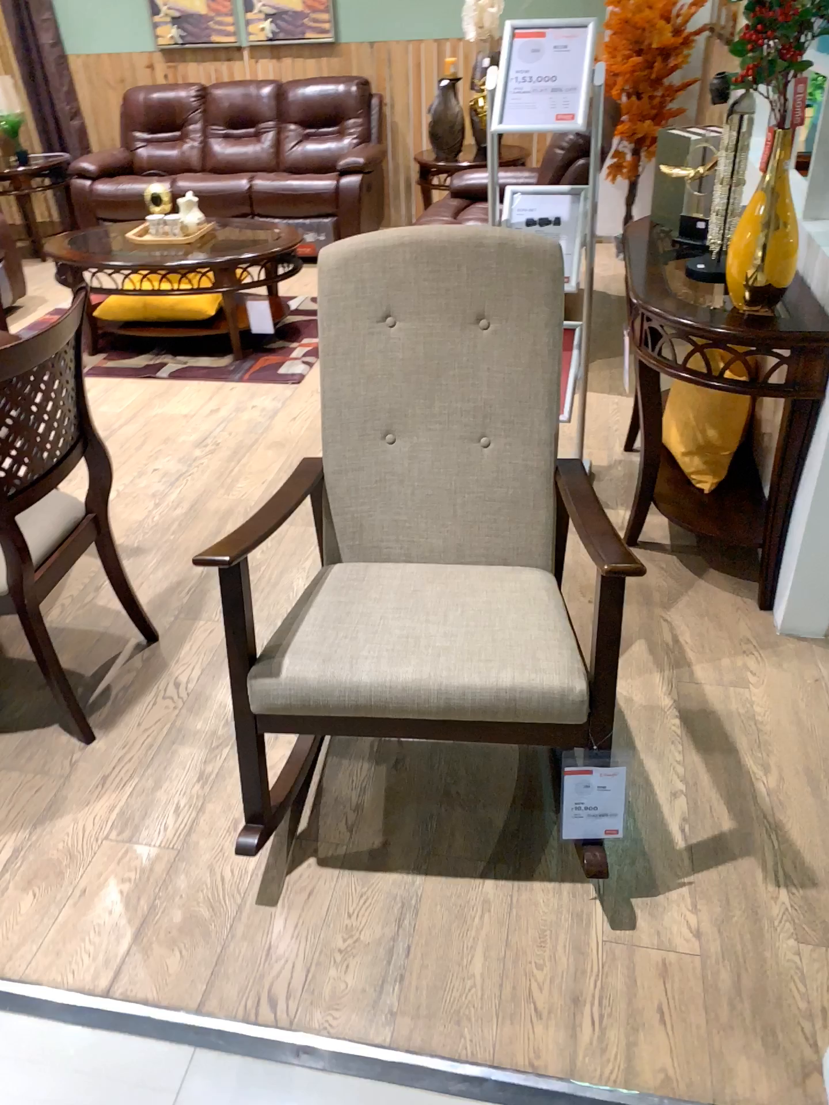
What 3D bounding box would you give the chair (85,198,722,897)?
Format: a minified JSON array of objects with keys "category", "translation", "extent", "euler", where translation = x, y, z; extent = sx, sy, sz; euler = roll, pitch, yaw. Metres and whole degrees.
[{"category":"chair","translation":[0.030,-0.047,1.576],"extent":[0.730,0.976,0.844],"euler":[0,33,5]}]
